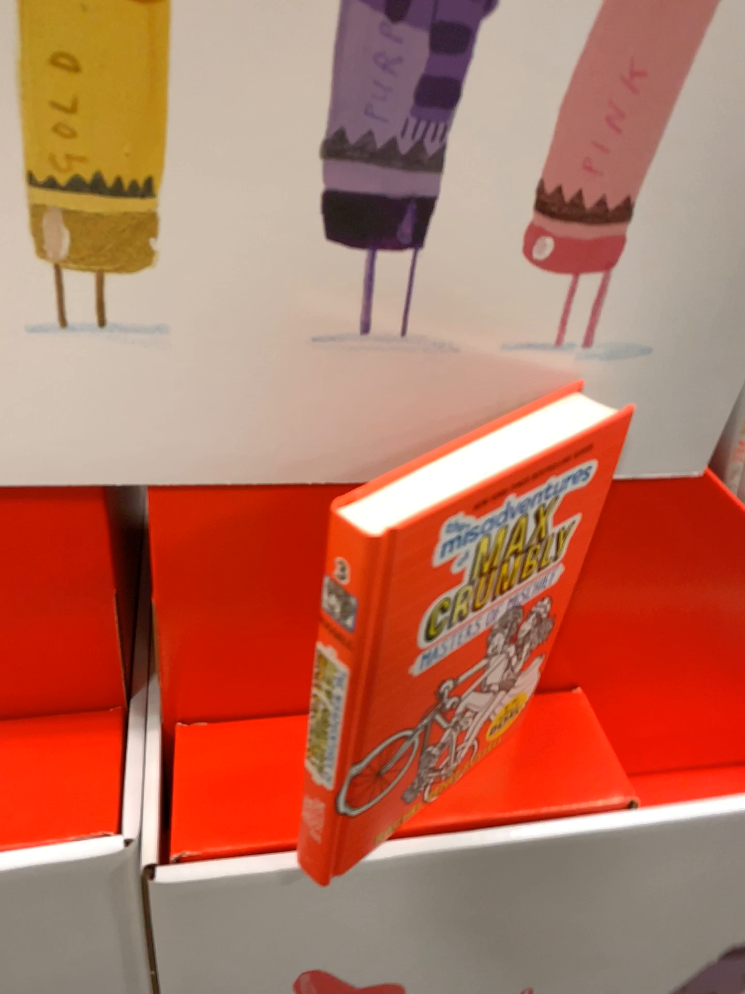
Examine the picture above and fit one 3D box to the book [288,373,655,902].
[{"bbox_3d":[0.036,0.062,0.319,0.031,0.201,0.142,35,43,30],"label":"book"}]
